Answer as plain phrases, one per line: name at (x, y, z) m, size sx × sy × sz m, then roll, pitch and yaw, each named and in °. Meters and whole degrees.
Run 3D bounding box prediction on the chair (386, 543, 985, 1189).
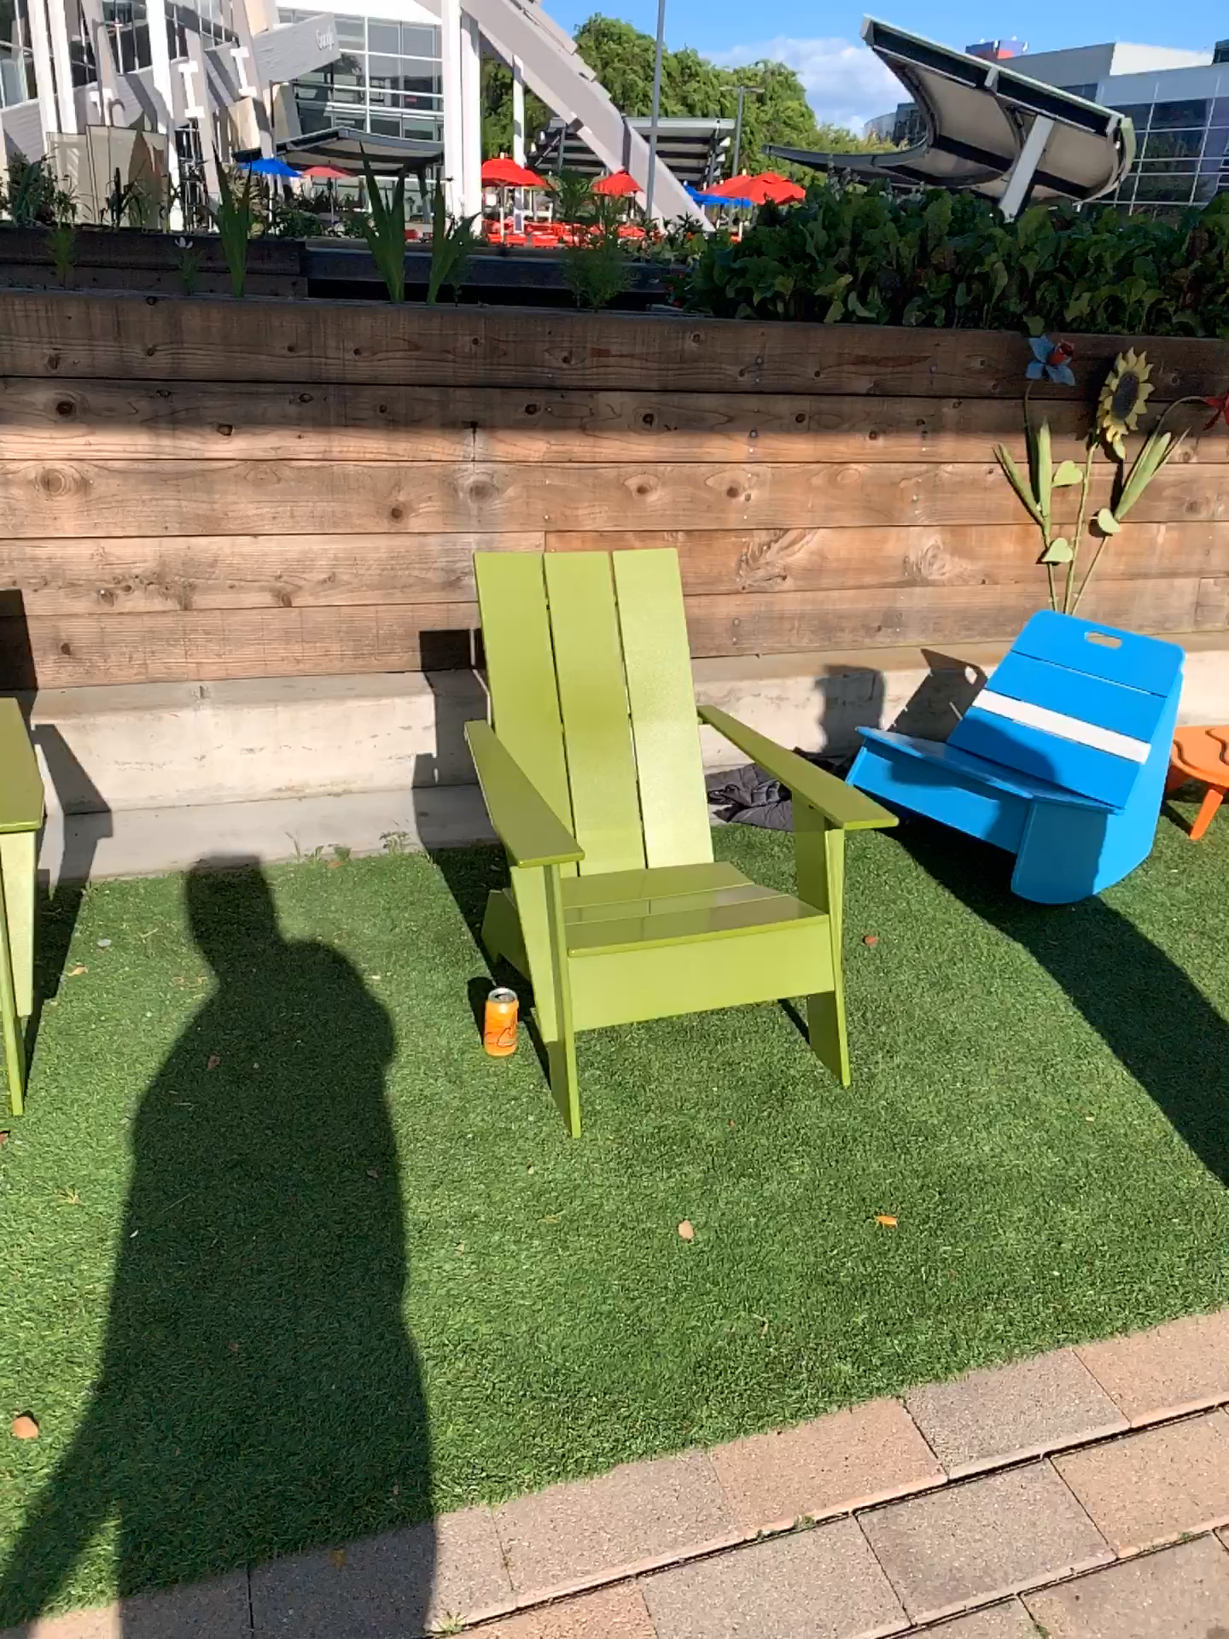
chair at (0.038, 0.002, 2.598) m, size 0.850 × 0.895 × 1.006 m, roll -5°, pitch 27°, yaw -18°
